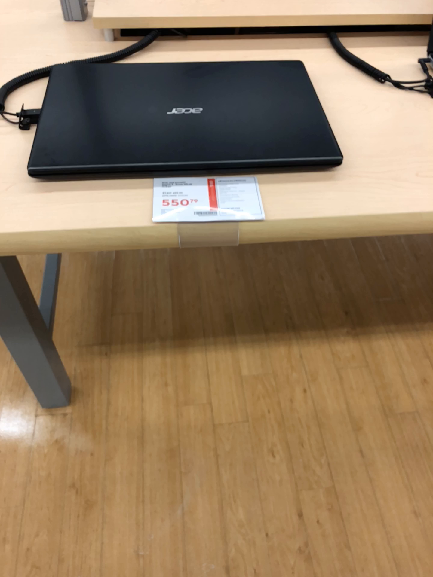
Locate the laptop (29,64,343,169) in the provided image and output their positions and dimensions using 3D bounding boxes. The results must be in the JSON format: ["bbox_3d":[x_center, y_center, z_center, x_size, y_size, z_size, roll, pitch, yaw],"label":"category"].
[{"bbox_3d":[-0.050,-0.270,0.721,0.416,0.001,0.268,-3,51,-4],"label":"laptop"}]
